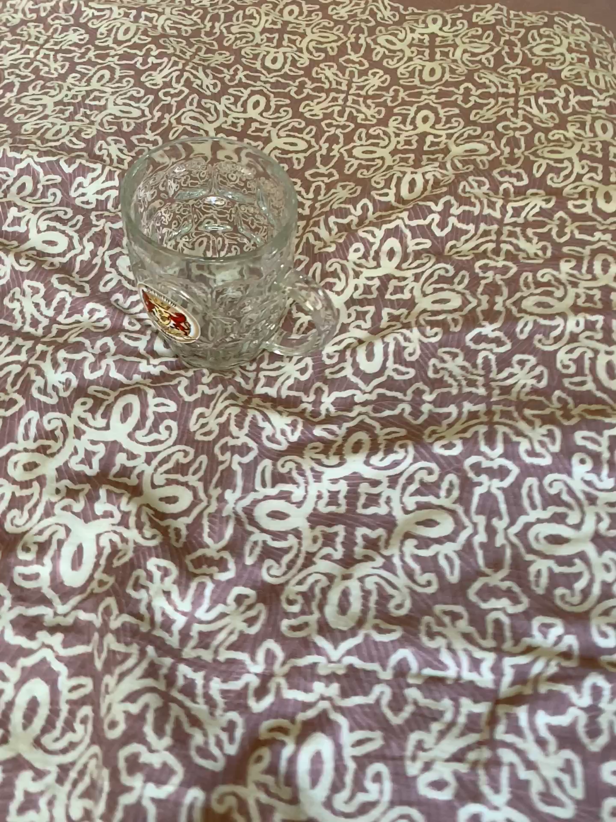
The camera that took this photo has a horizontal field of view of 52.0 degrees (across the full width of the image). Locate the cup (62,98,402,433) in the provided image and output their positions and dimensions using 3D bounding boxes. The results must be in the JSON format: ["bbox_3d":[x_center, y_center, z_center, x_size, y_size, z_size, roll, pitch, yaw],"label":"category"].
[{"bbox_3d":[-0.033,-0.077,0.340,0.130,0.109,0.090,24,61,16],"label":"cup"}]
